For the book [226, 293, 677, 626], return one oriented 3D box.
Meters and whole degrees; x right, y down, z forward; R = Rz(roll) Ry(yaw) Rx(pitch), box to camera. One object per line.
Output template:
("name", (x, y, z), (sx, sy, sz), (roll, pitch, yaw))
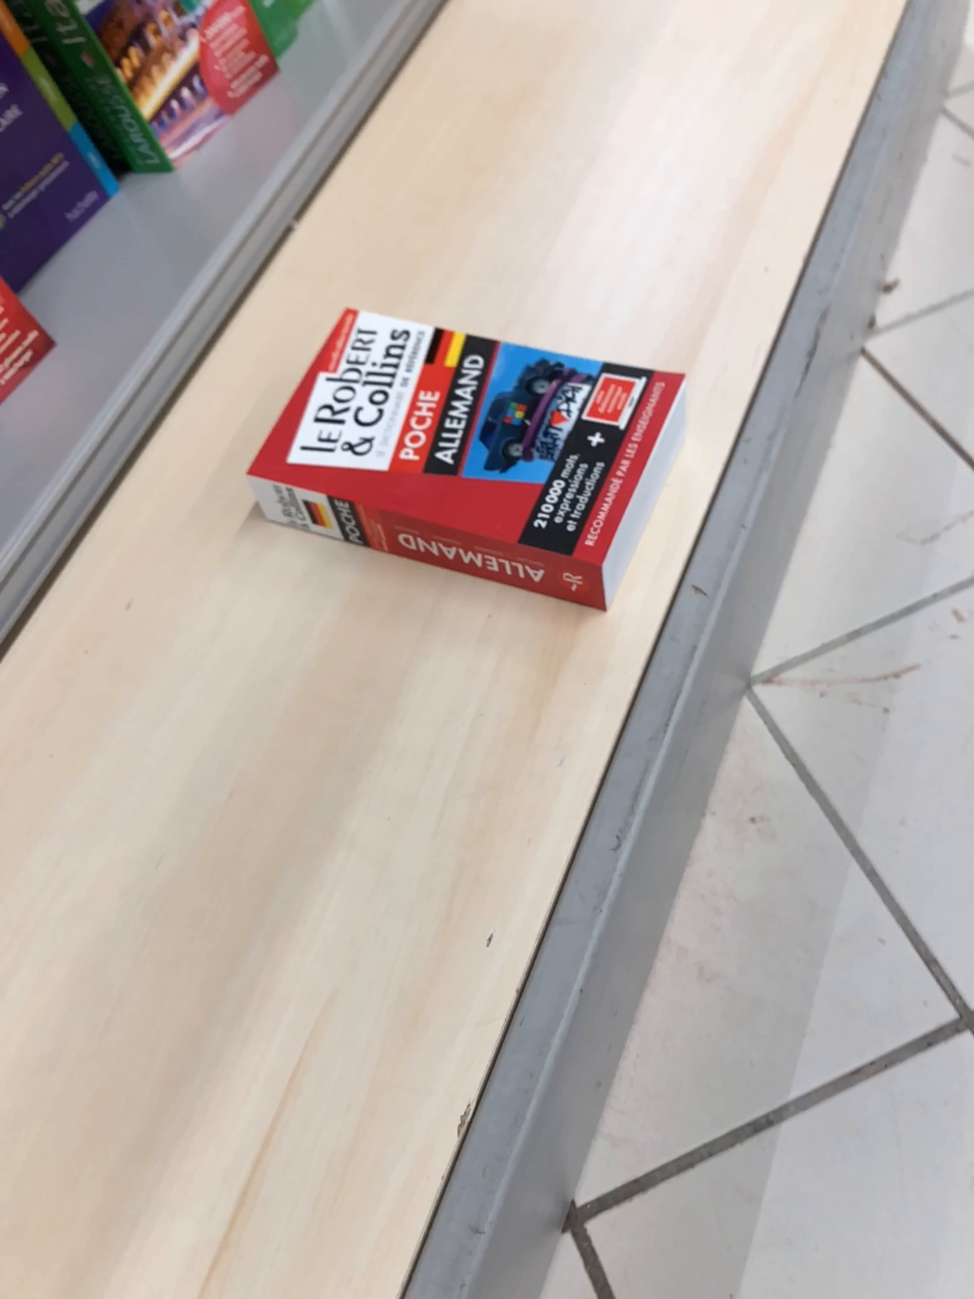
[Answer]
("book", (-0.013, -0.091, 0.493), (0.170, 0.050, 0.111), (16, 64, 17))
